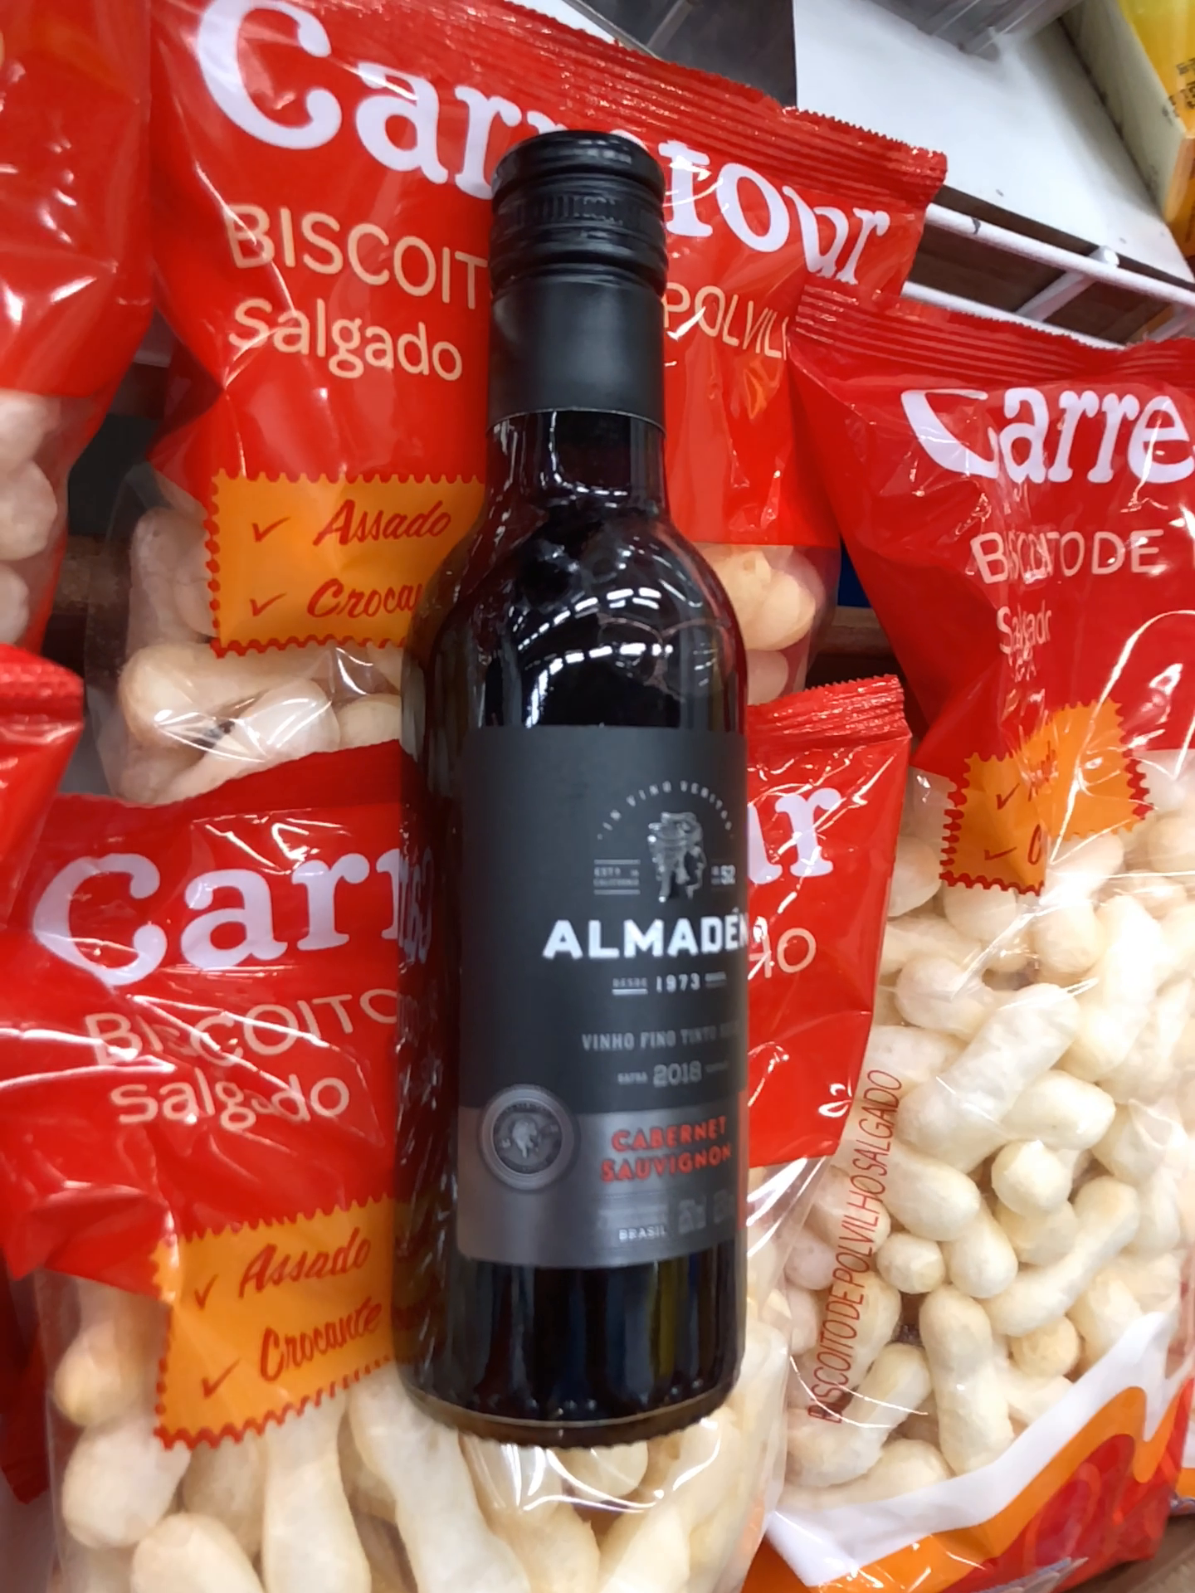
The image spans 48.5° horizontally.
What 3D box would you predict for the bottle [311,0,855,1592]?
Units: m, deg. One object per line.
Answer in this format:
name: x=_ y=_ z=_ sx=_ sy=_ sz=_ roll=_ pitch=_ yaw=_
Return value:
bottle: x=-0.006 y=-0.017 z=0.217 sx=0.060 sy=0.060 sz=0.240 roll=3 pitch=82 yaw=-36
